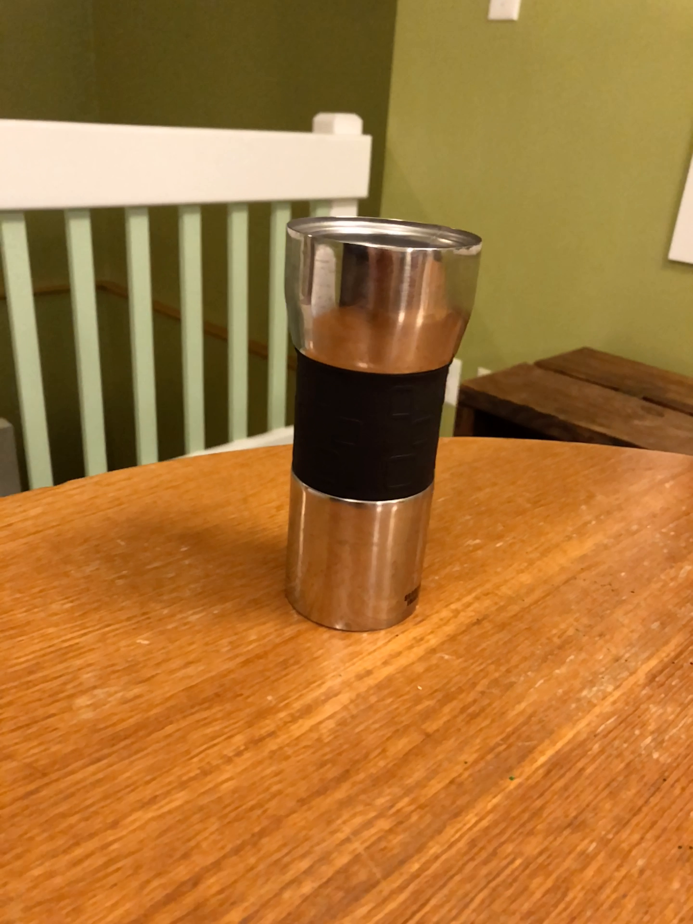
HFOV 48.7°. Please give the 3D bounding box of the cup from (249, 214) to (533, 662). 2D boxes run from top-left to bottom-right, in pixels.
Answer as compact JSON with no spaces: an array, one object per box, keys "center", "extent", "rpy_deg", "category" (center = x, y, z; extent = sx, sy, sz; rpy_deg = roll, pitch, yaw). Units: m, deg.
[{"center":[0.017,-0.017,0.356],"extent":[0.083,0.173,0.088],"rpy_deg":[4,24,-2],"category":"cup"}]
